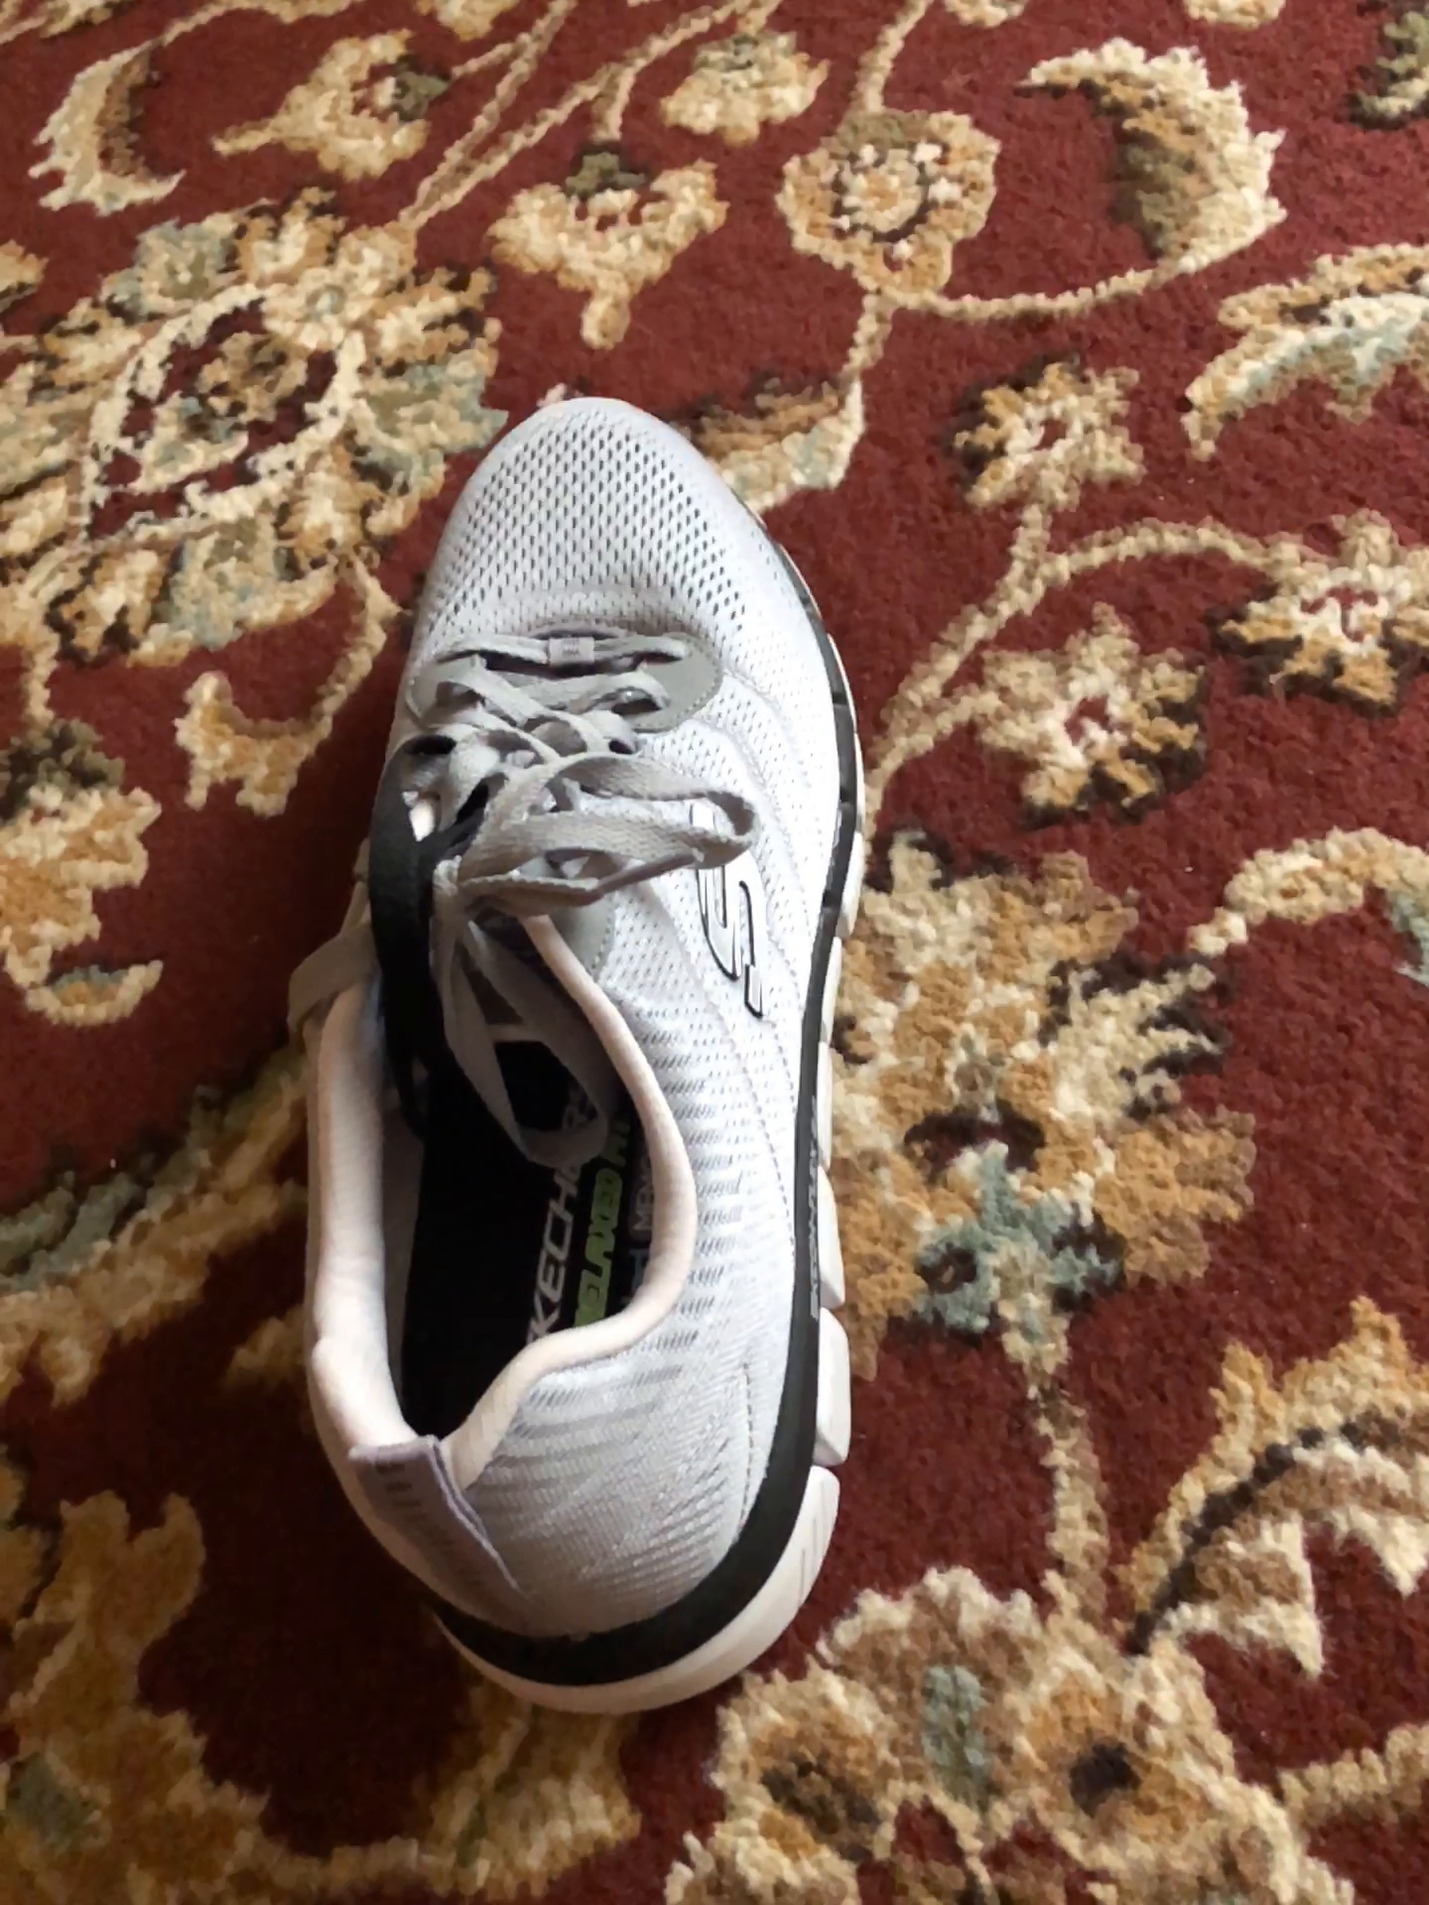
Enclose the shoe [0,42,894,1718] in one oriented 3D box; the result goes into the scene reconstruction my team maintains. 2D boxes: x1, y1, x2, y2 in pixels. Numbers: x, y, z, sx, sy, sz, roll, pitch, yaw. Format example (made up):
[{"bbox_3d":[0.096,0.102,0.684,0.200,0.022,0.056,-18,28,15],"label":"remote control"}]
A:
[{"bbox_3d":[-0.029,-0.018,0.314,0.100,0.130,0.300,-6,60,11],"label":"shoe"}]
